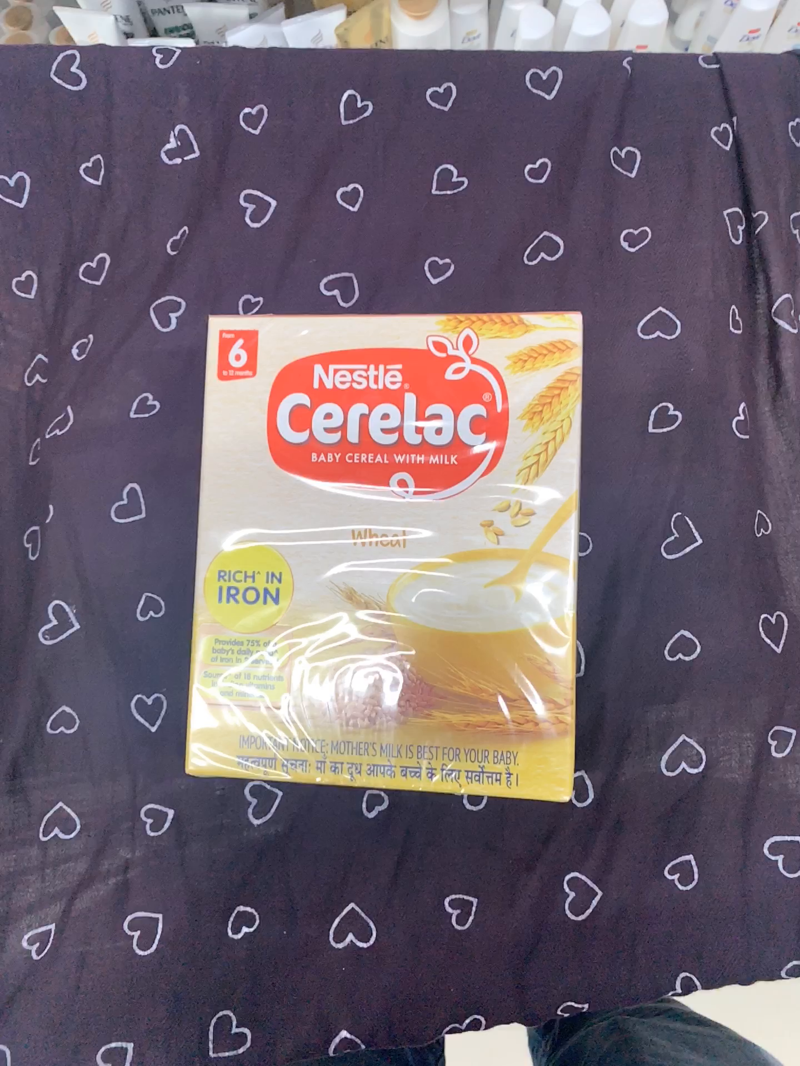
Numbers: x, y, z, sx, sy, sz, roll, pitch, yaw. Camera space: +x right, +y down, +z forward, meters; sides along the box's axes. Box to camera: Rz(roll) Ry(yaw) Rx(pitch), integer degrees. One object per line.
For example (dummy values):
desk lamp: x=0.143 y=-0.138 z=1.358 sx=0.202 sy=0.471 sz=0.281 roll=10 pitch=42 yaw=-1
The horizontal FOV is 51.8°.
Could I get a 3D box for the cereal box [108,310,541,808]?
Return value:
cereal box: x=-0.024 y=0.006 z=0.295 sx=0.140 sy=0.040 sz=0.160 roll=2 pitch=87 yaw=9
